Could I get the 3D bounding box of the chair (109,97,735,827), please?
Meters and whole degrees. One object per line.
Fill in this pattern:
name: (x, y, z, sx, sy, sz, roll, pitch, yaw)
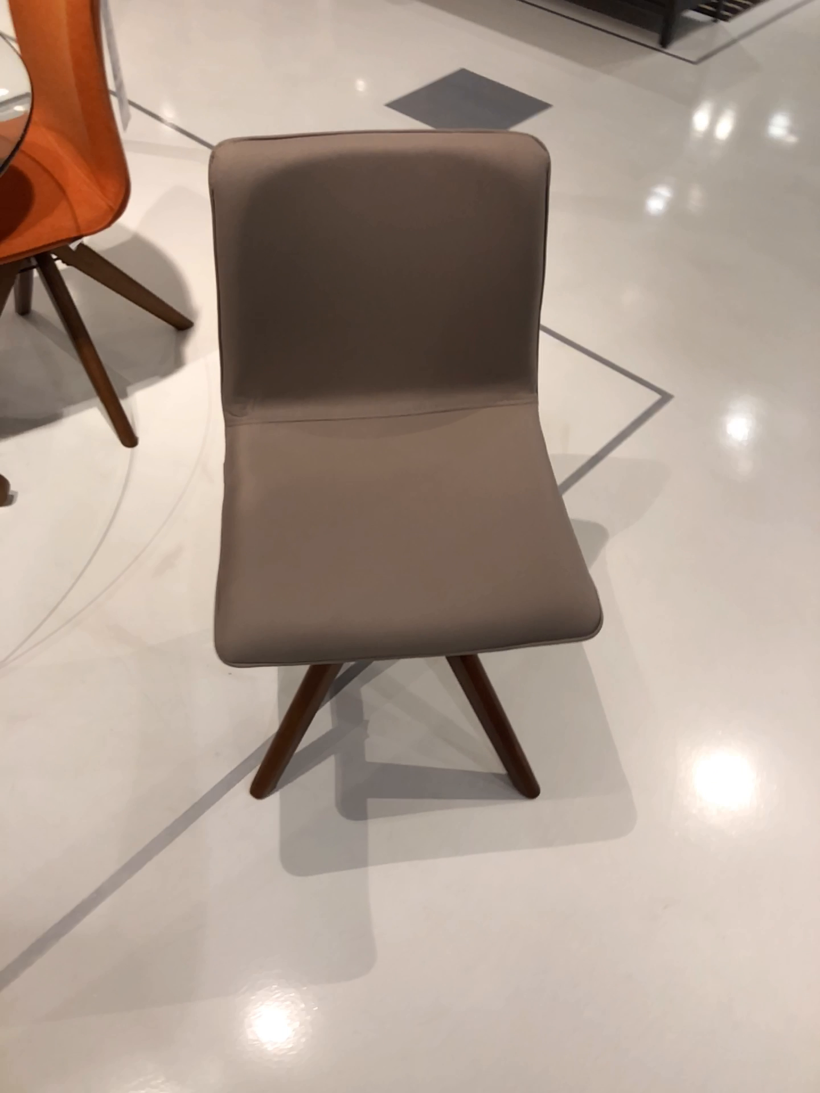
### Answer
chair: (-0.015, -0.062, 1.188, 0.500, 0.805, 0.513, -3, 50, -4)
